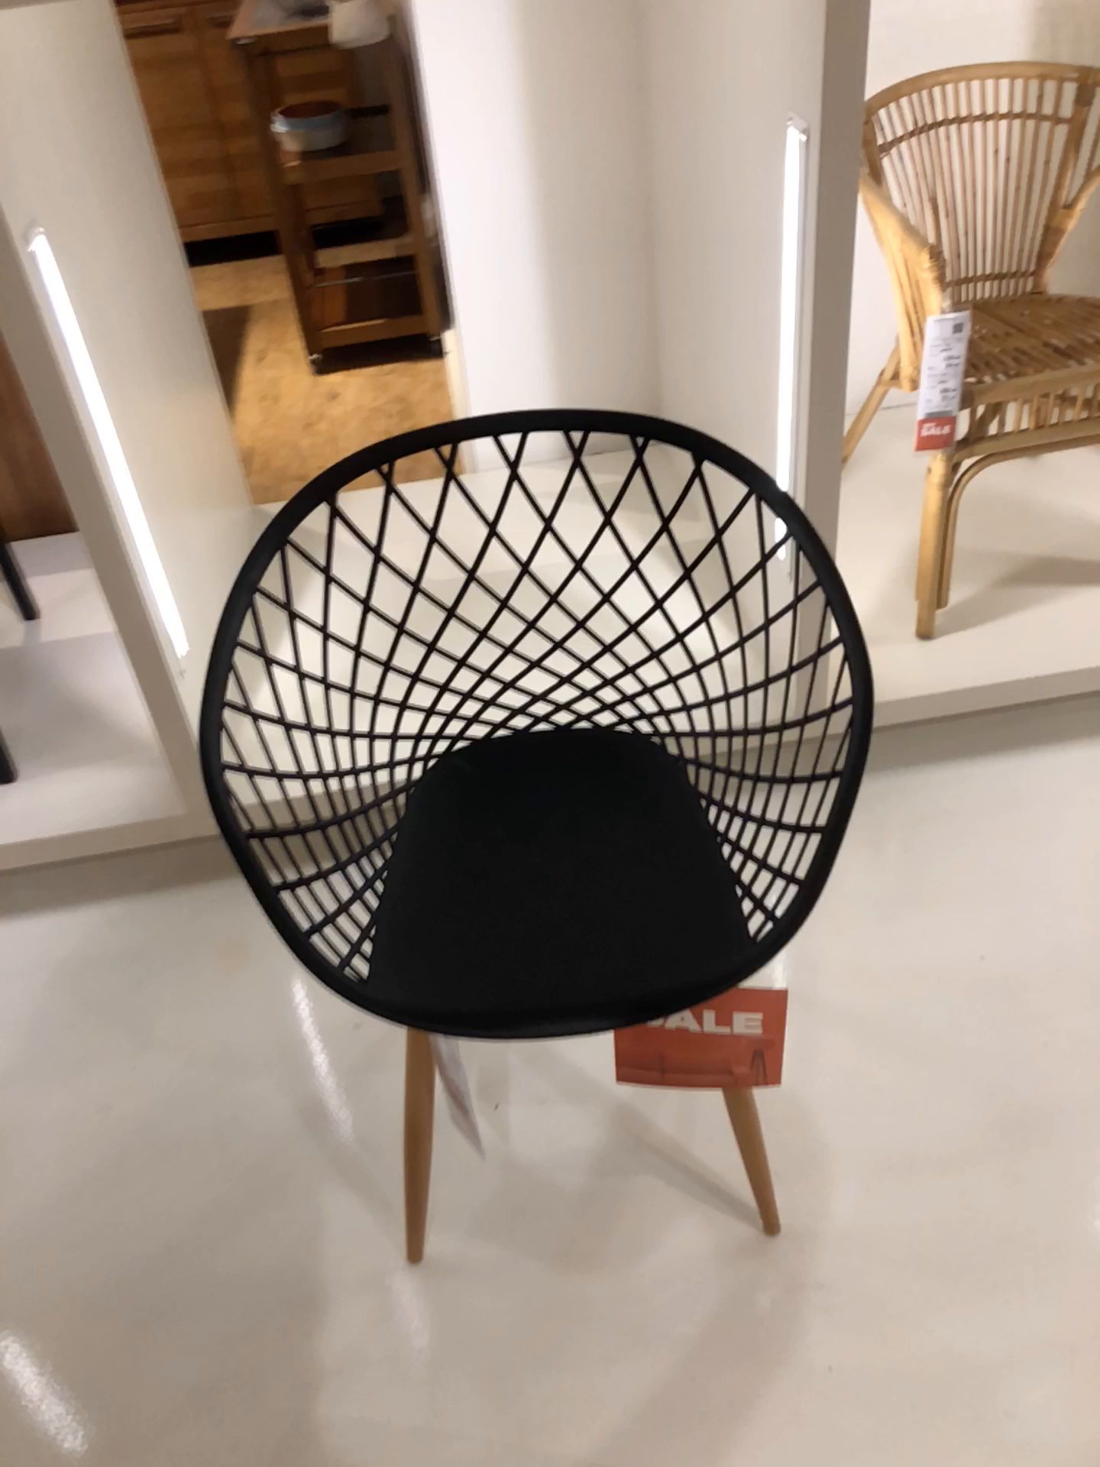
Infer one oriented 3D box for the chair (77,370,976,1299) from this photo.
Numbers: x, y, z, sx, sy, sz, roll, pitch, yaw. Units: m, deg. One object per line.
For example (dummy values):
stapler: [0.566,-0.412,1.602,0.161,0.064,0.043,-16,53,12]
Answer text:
chair: [0.005,0.105,1.281,0.620,0.704,0.605,-6,38,2]
